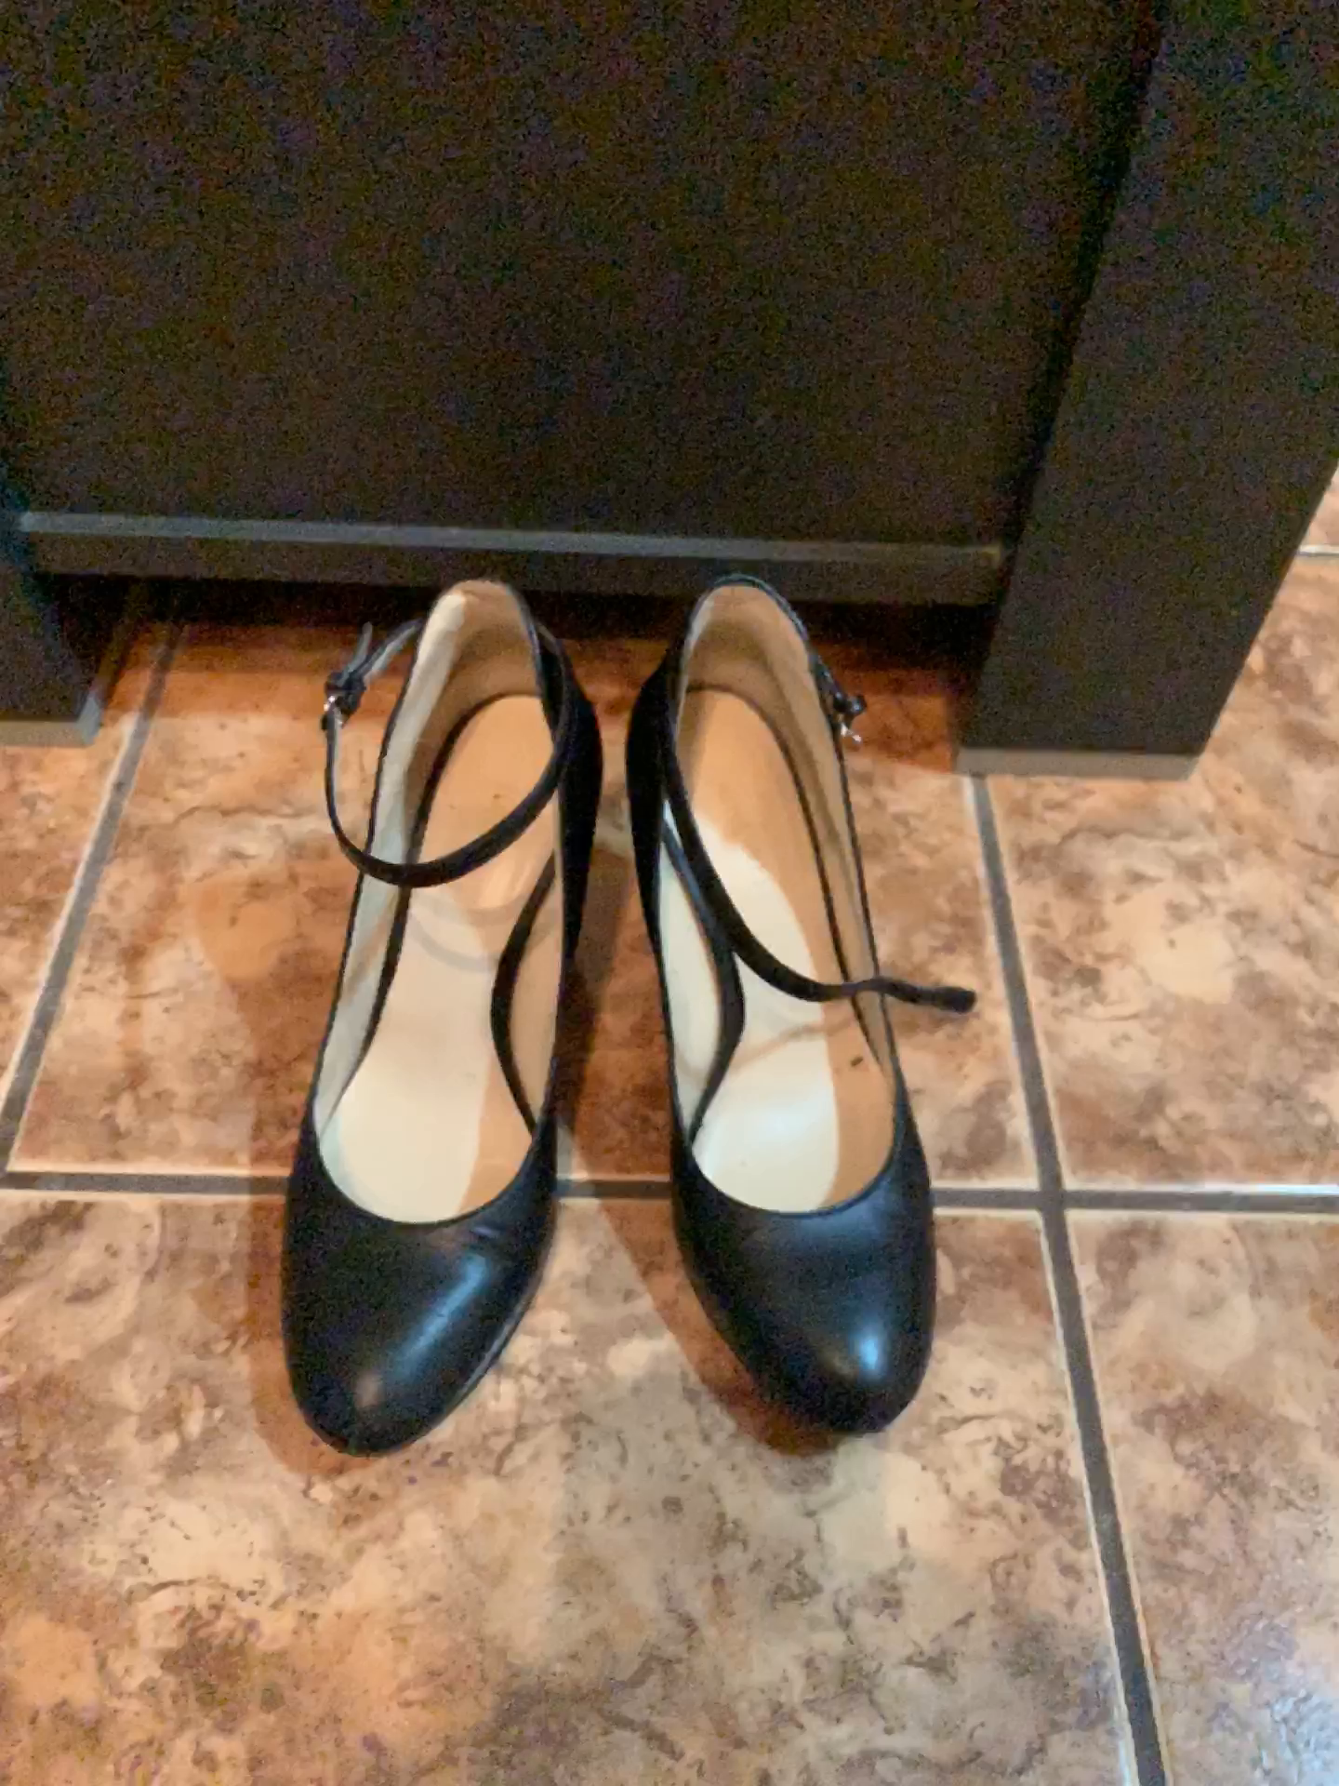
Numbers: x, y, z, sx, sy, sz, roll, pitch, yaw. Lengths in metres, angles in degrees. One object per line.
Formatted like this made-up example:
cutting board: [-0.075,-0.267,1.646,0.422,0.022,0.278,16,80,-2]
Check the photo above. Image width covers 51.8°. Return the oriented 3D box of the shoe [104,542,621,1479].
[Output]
shoe: [-0.064,0.033,0.386,0.079,0.159,0.201,5,51,1]

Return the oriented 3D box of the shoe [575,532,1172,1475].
shoe: [0.034,0.025,0.384,0.087,0.140,0.210,-7,52,-9]
